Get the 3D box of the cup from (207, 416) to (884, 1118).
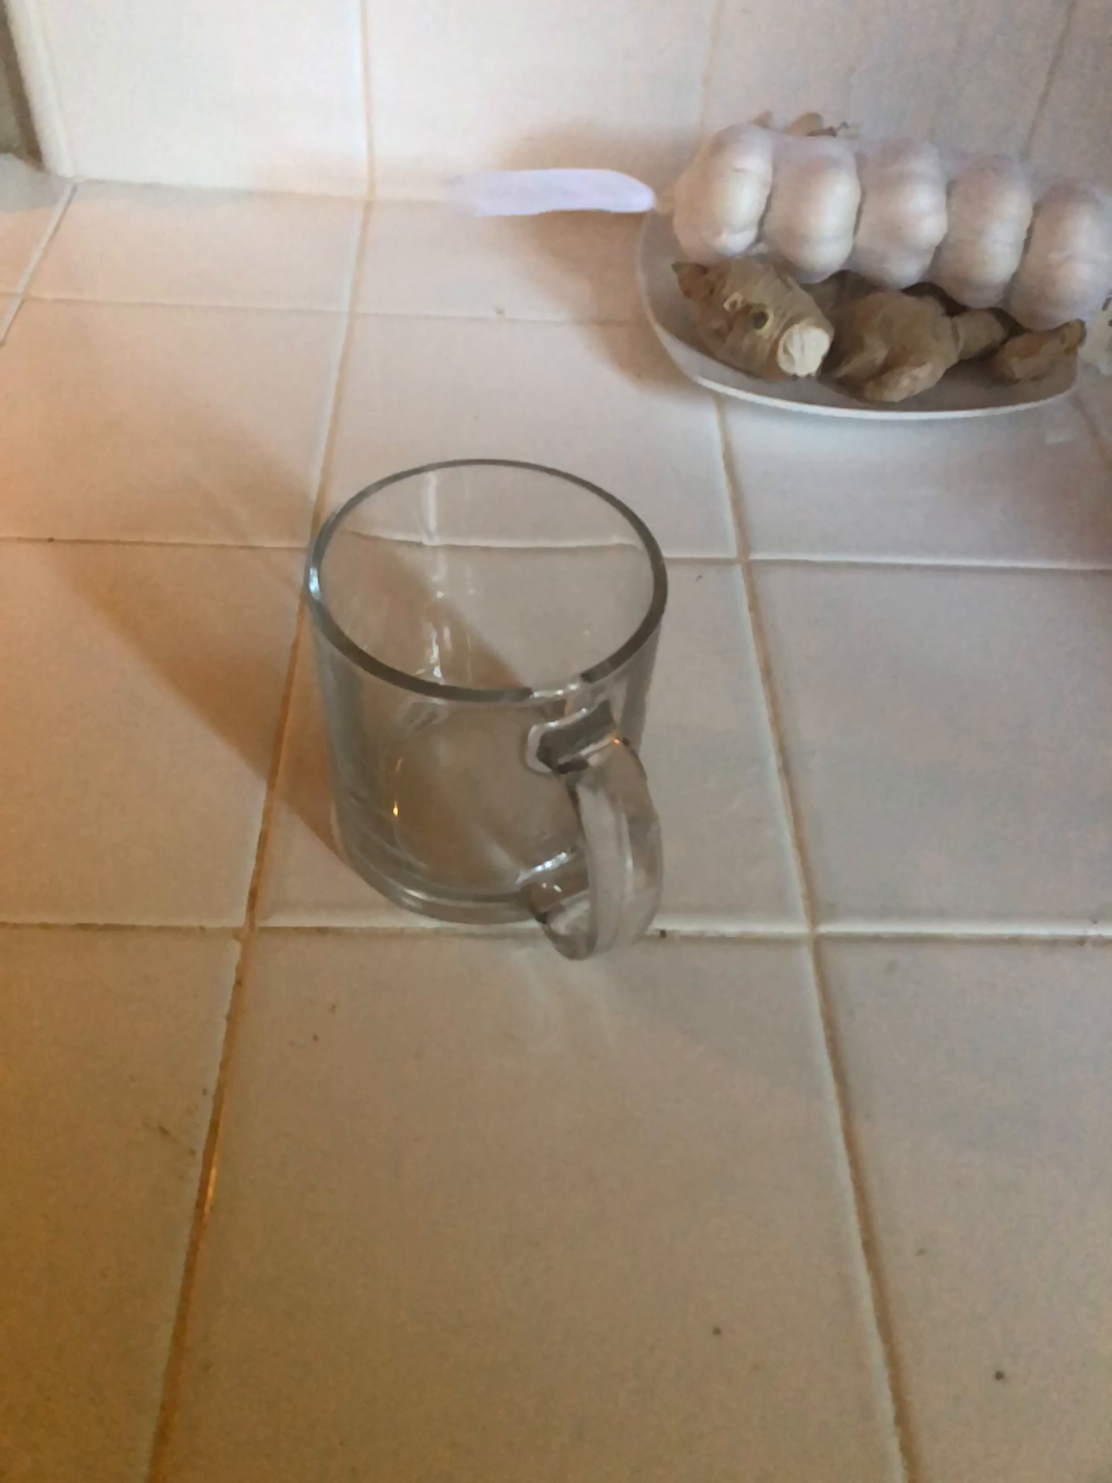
[{"bbox_3d":[-0.009,0.000,0.310,0.100,0.079,0.130,-25,56,-23],"label":"cup"}]
